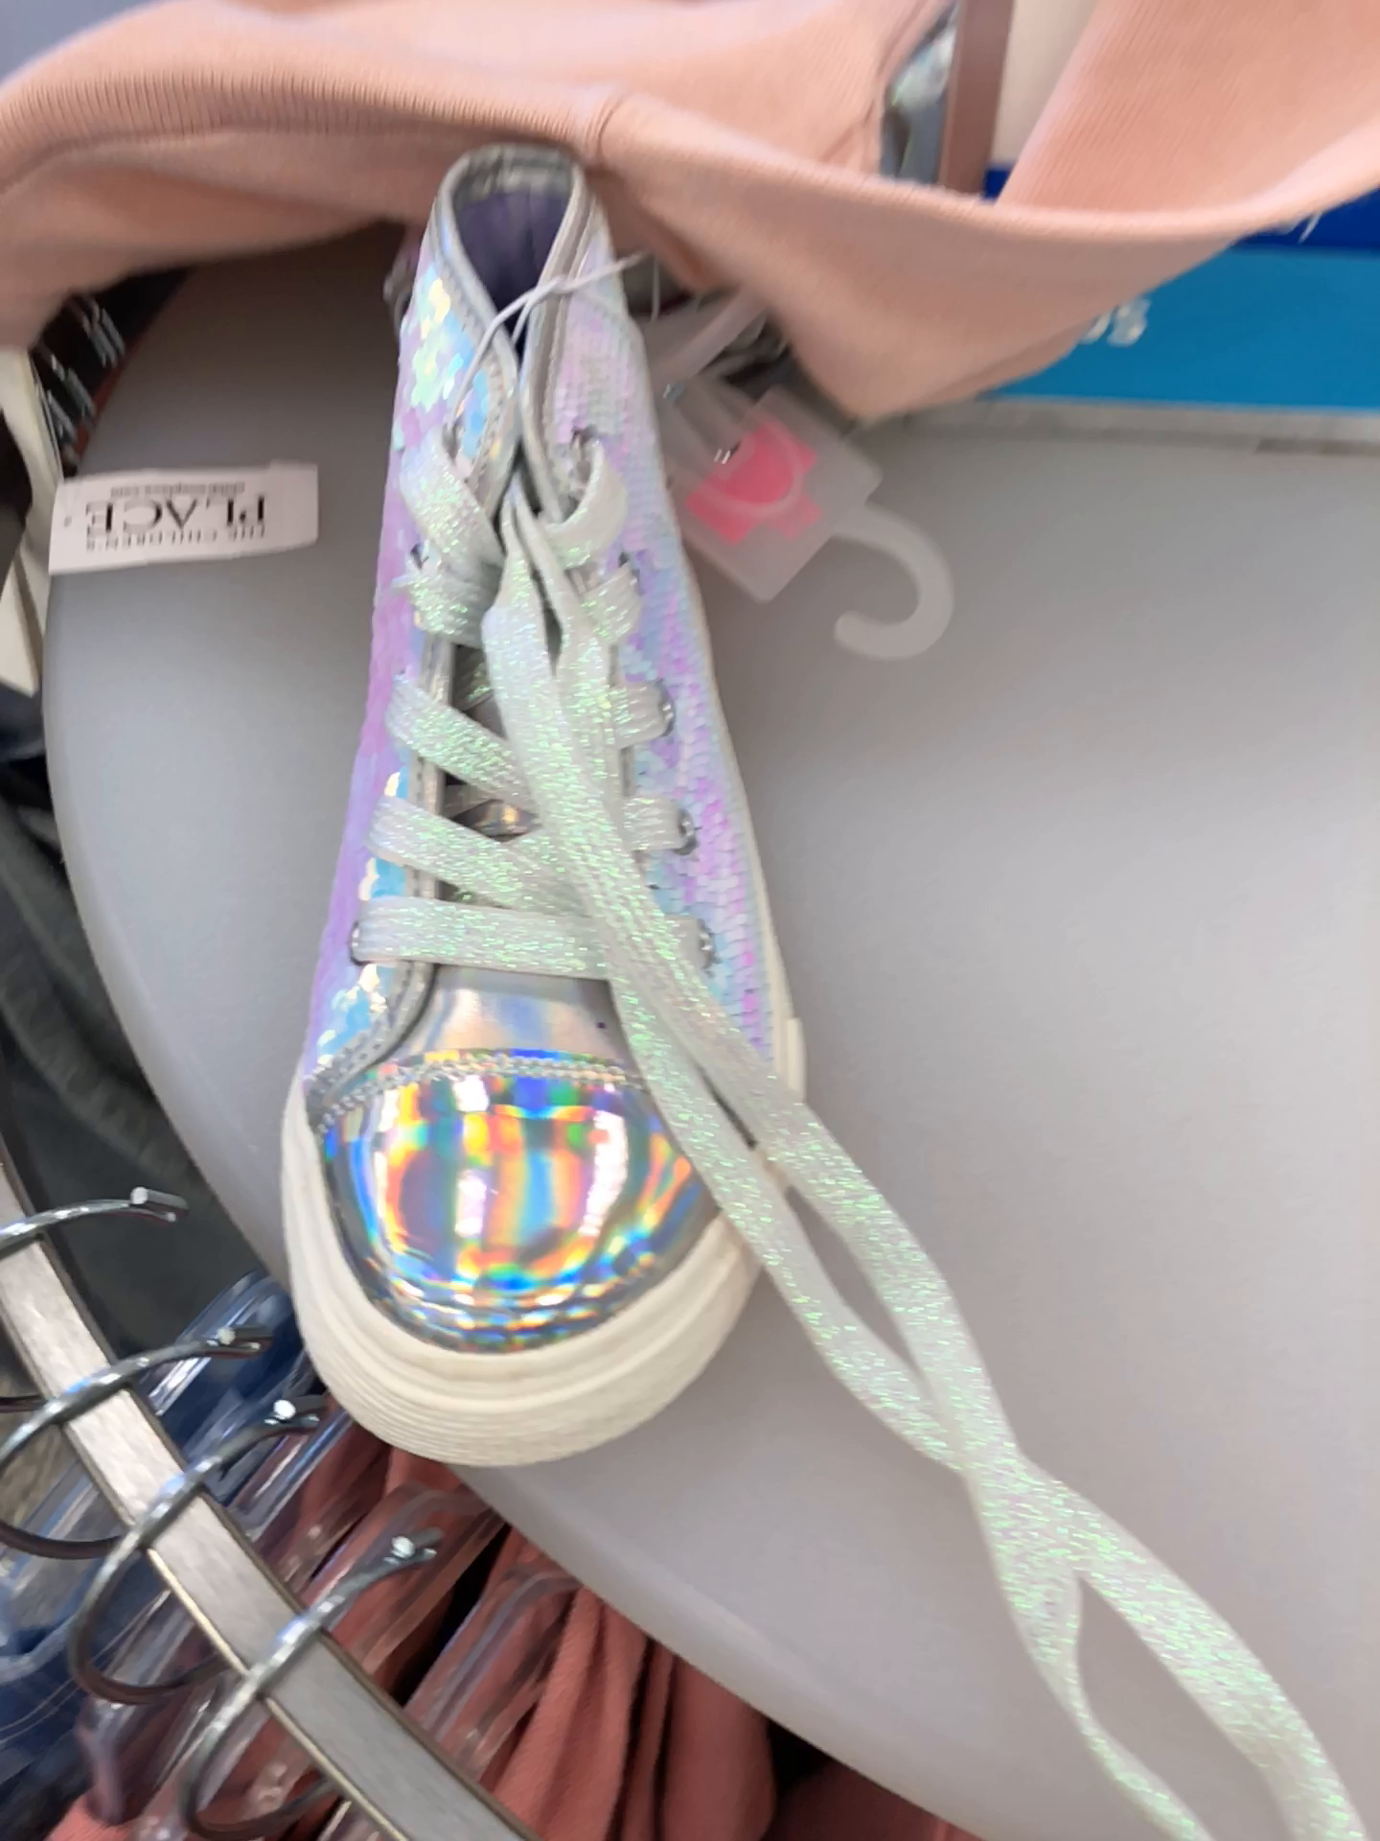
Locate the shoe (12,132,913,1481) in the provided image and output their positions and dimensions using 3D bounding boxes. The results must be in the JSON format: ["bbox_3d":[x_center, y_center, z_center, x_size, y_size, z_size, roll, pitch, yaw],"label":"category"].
[{"bbox_3d":[-0.023,-0.030,0.261,0.090,0.105,0.212,0,52,0],"label":"shoe"}]
